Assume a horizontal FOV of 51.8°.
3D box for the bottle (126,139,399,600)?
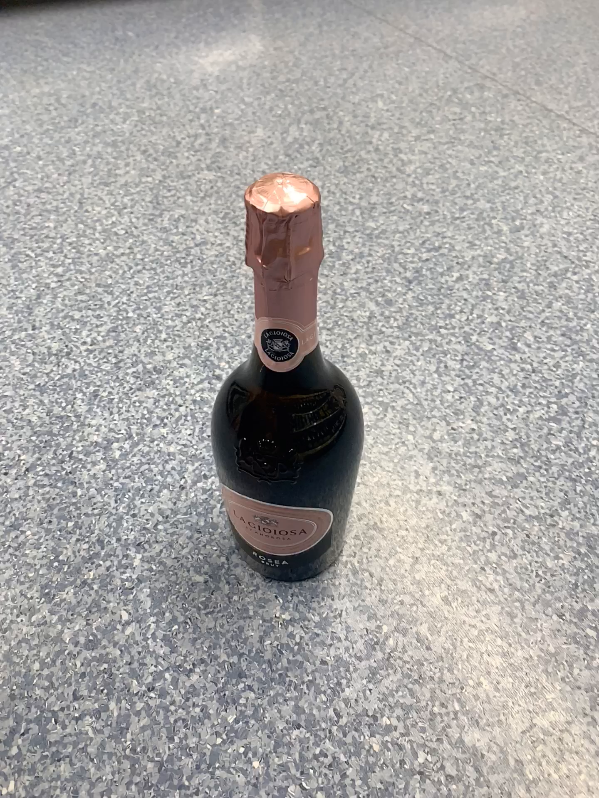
[{"bbox_3d":[-0.012,0.006,0.355,0.094,0.268,0.079,12,48,11],"label":"bottle"}]
